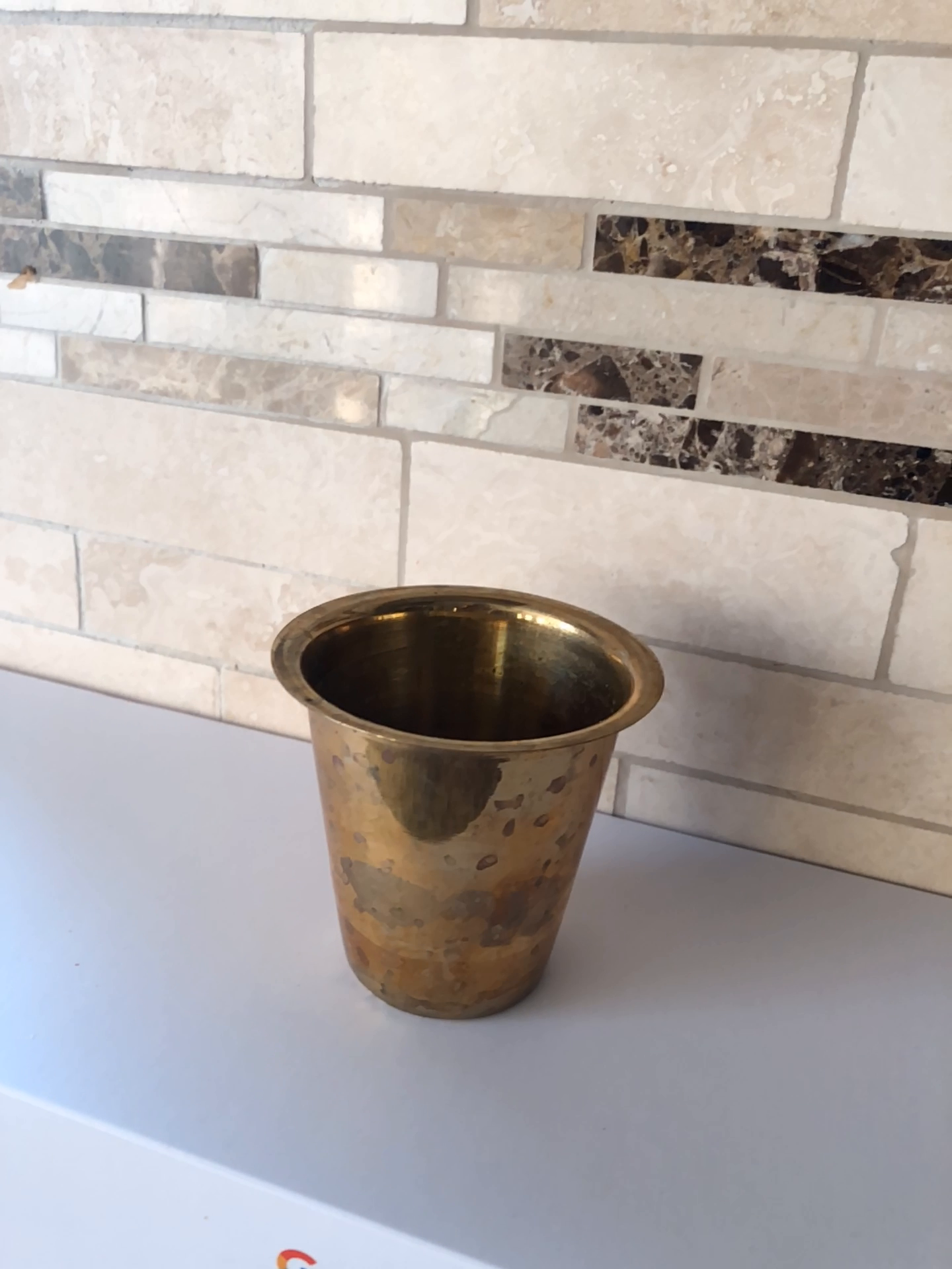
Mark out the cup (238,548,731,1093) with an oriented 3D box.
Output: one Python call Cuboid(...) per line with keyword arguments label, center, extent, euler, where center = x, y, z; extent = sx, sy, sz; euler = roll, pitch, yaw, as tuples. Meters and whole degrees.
Cuboid(label="cup", center=(0.005, 0.032, 0.229), extent=(0.083, 0.071, 0.076), euler=(10, 23, 12))
